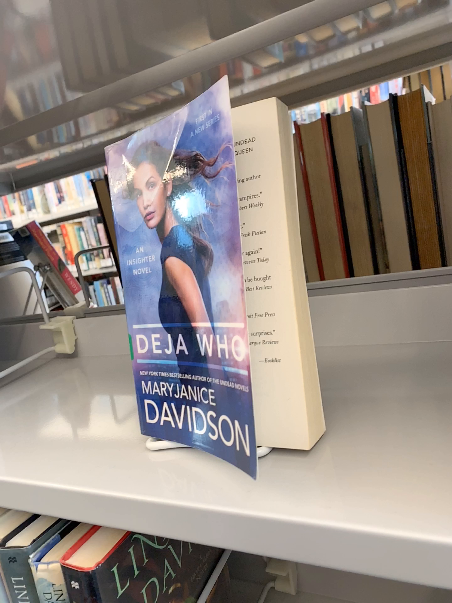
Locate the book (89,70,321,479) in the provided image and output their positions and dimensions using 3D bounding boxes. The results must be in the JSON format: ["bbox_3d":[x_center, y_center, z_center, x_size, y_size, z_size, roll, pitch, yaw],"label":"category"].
[{"bbox_3d":[-0.020,-0.012,0.281,0.136,0.190,0.047,-3,1,44],"label":"book"}]
